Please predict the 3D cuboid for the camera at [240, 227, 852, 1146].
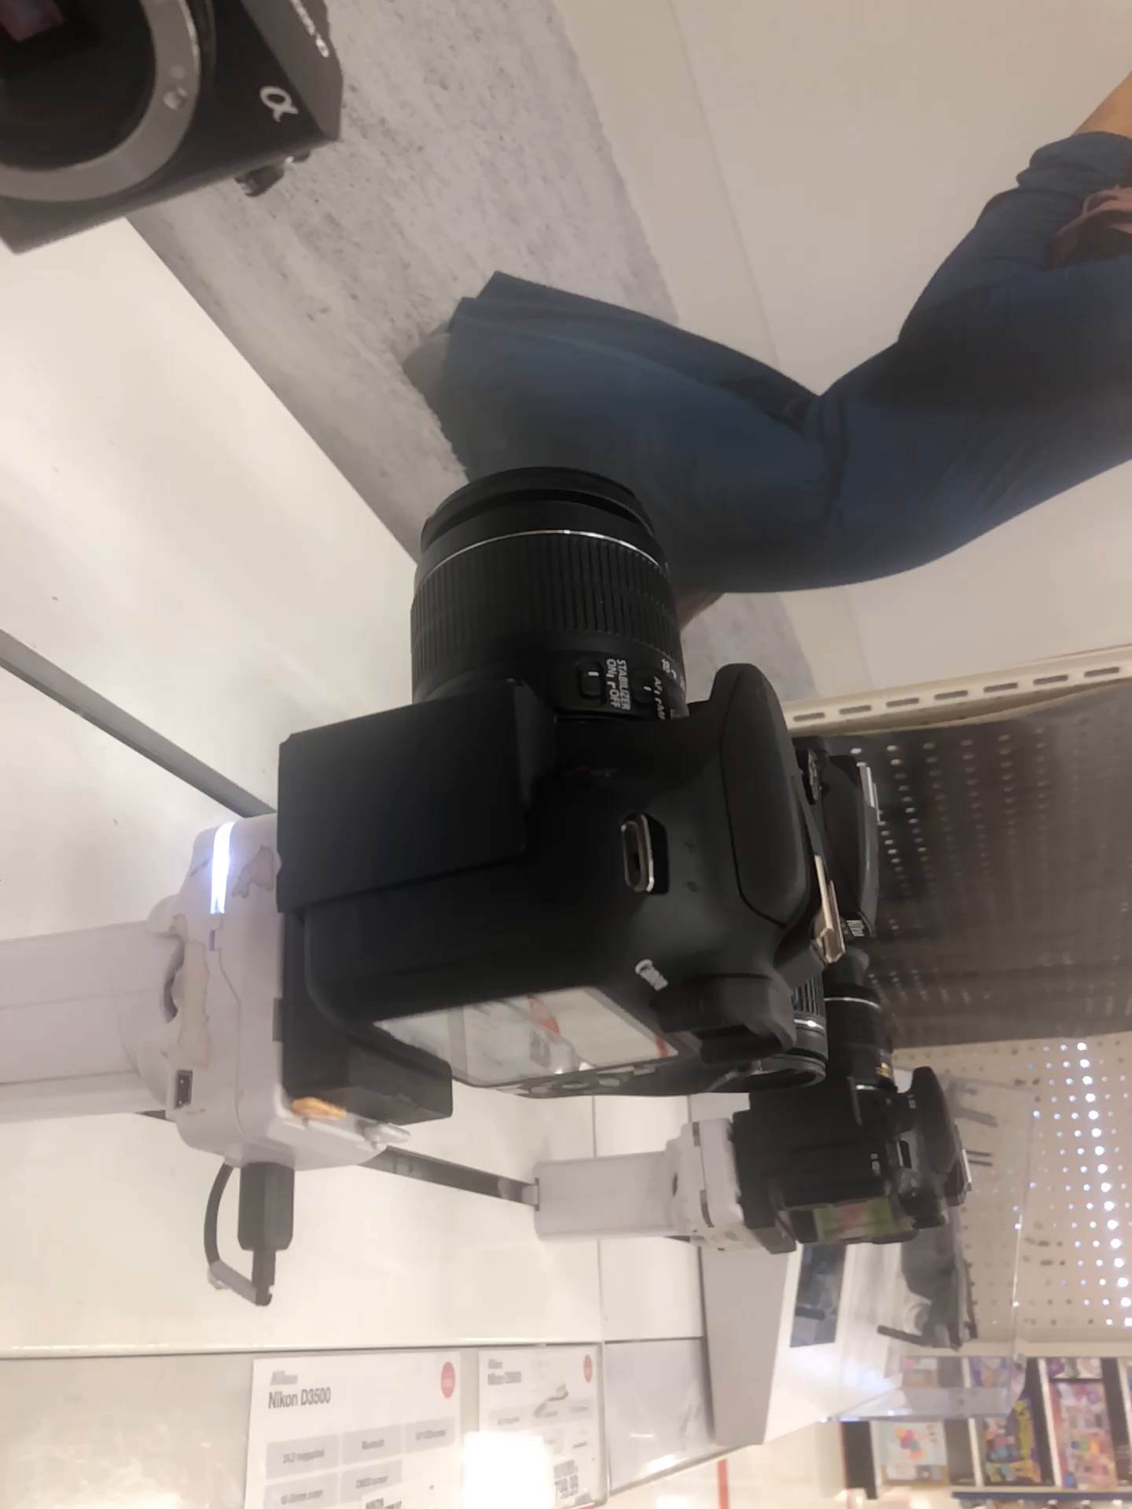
[{"bbox_3d":[0.007,-0.003,0.309,0.141,0.090,0.170,50,35,-59],"label":"camera"}]
